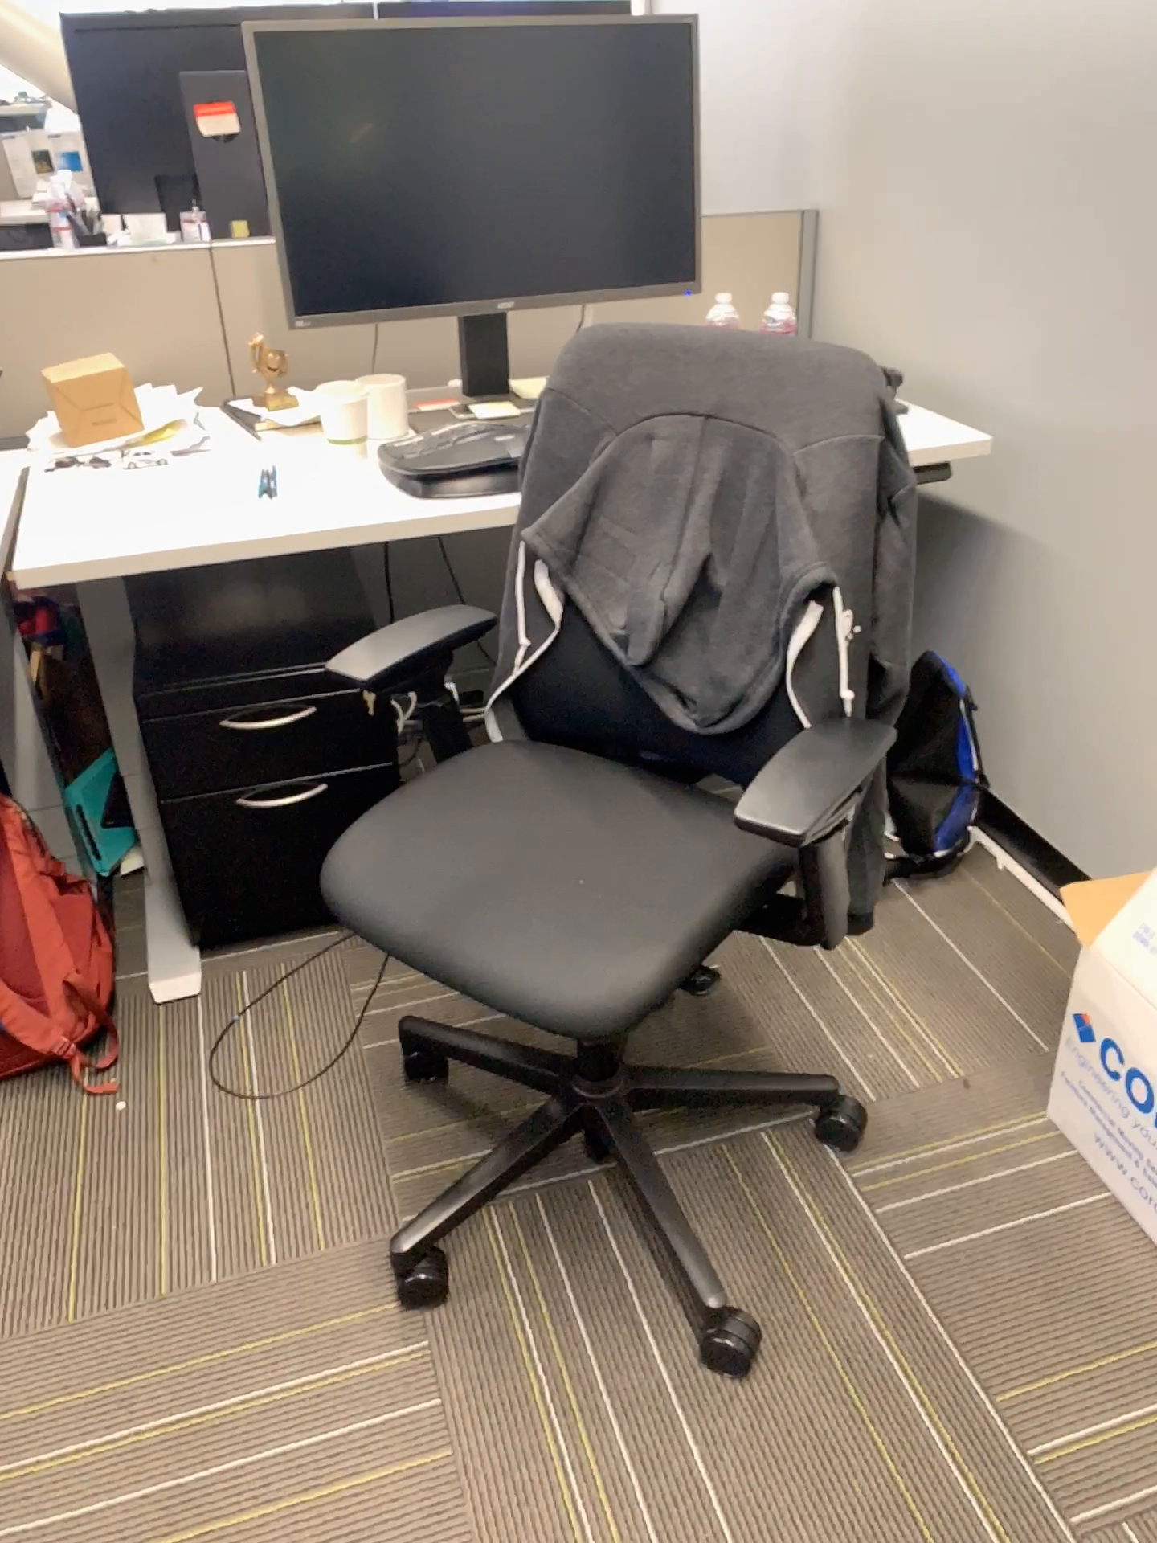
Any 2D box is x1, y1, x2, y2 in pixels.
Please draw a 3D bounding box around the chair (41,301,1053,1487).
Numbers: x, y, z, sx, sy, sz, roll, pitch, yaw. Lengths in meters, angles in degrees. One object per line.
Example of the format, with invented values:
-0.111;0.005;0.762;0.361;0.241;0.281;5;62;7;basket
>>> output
0.036;0.050;1.435;0.682;0.994;0.803;17;35;28;chair
